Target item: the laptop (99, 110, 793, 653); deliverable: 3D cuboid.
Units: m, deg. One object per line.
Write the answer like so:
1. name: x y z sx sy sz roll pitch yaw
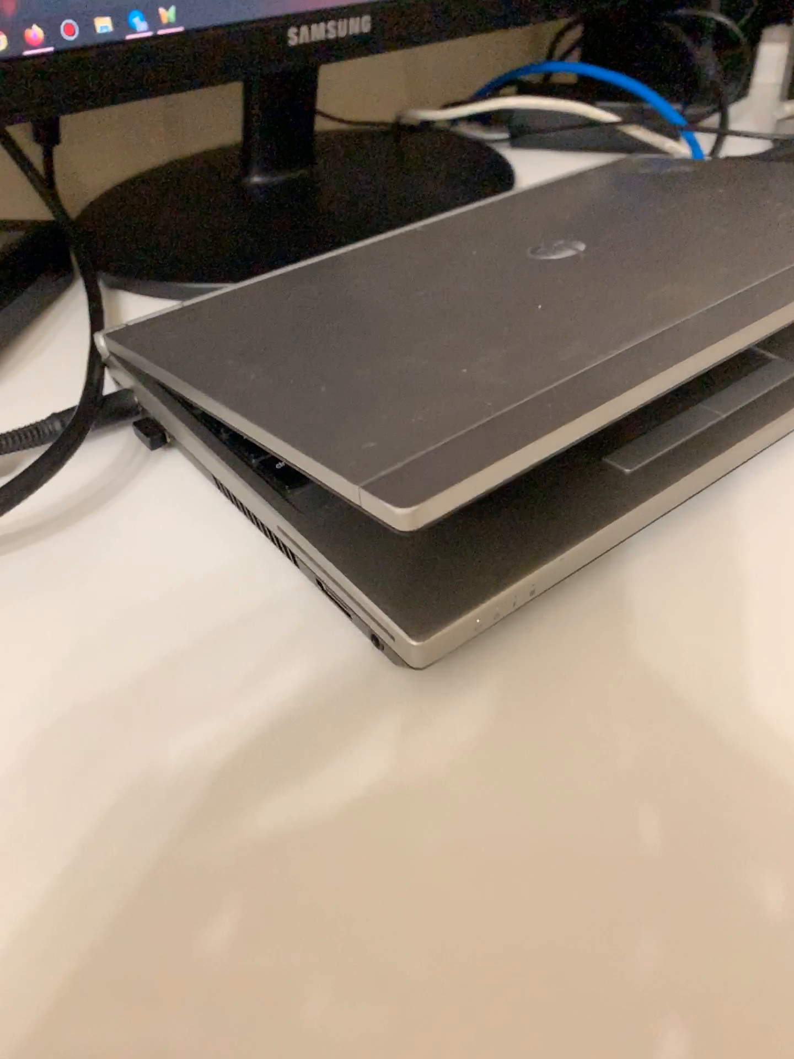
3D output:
1. laptop: 0.068 -0.092 0.311 0.293 0.029 0.184 -28 49 -27
